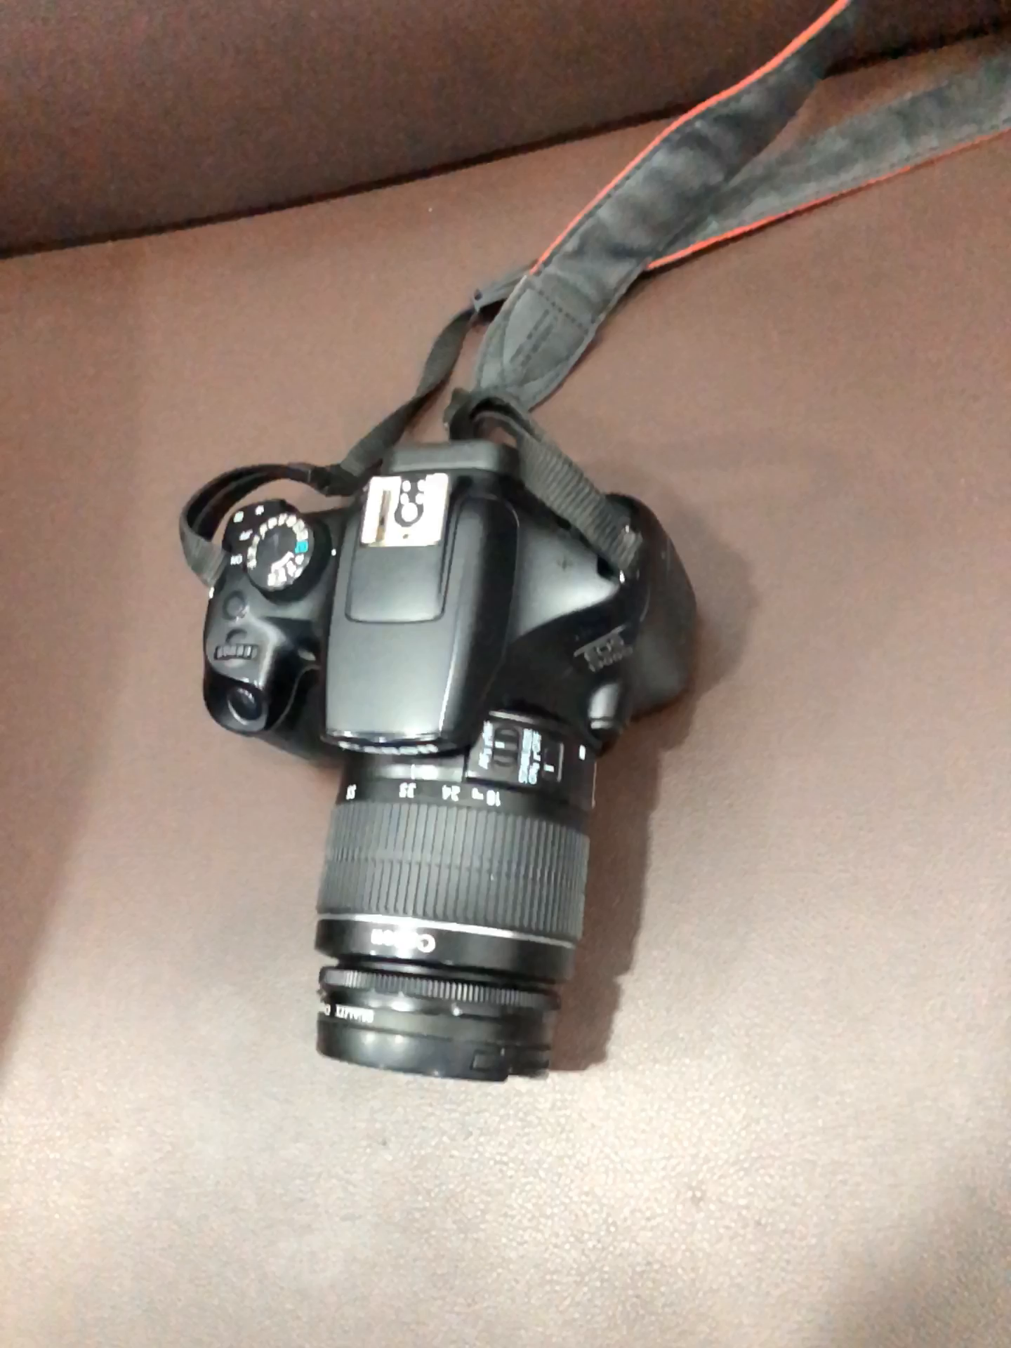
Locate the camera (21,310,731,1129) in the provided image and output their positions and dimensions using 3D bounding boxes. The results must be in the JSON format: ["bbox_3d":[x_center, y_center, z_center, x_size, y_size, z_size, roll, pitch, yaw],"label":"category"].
[{"bbox_3d":[-0.018,0.014,0.284,0.130,0.090,0.170,0,70,19],"label":"camera"}]
